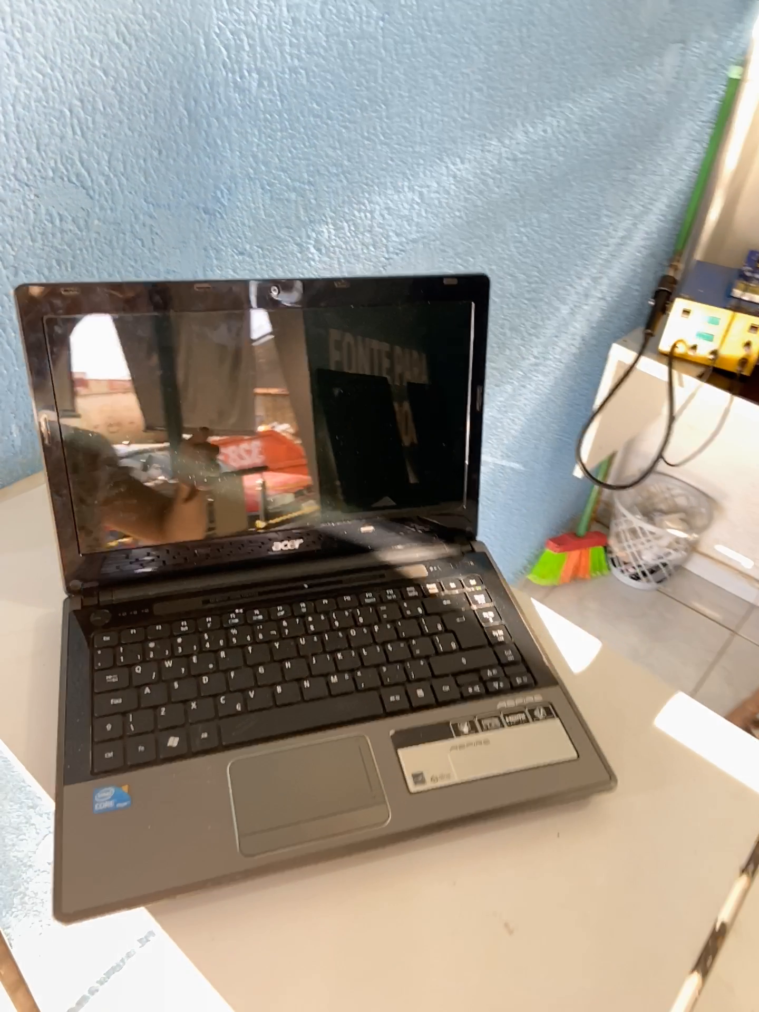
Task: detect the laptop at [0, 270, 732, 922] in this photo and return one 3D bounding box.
[{"bbox_3d":[-0.044,0.018,0.507,0.337,0.207,0.320,-7,41,-16],"label":"laptop"}]
